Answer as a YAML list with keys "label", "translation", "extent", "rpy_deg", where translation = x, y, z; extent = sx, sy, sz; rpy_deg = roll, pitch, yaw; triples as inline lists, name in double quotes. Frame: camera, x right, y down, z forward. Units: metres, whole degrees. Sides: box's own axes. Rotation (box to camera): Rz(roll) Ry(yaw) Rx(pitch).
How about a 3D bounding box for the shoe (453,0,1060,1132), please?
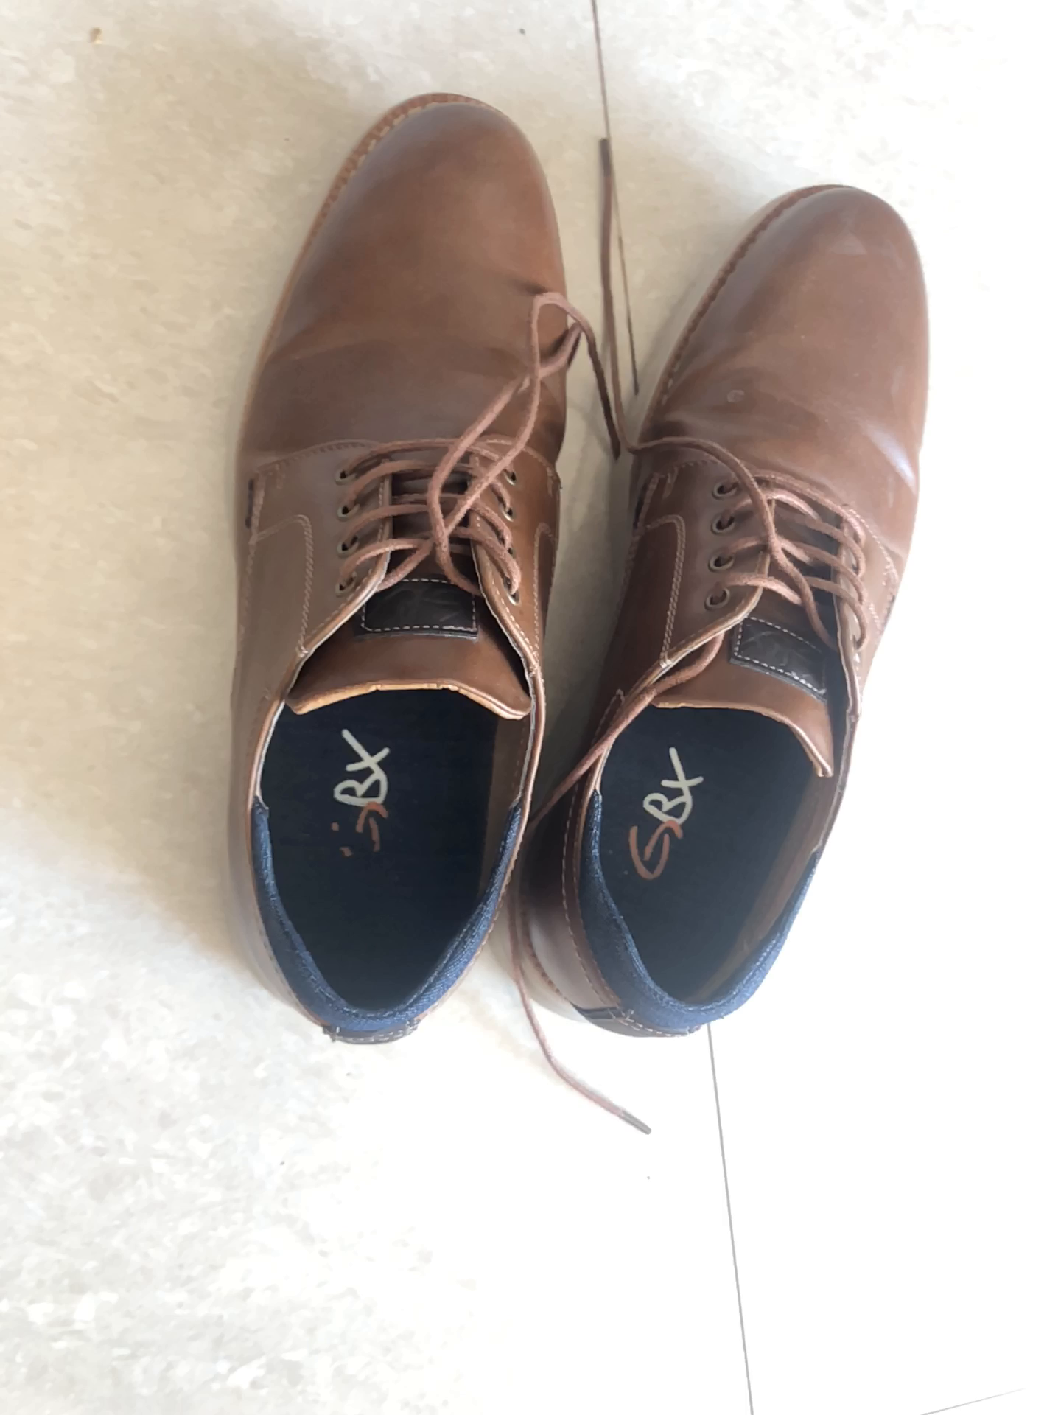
- label: "shoe"
  translation: [0.075, -0.044, 0.381]
  extent: [0.100, 0.100, 0.310]
  rpy_deg: [18, 85, -9]

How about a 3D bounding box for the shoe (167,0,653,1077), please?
- label: "shoe"
  translation: [-0.039, -0.055, 0.378]
  extent: [0.100, 0.100, 0.310]
  rpy_deg: [7, 87, -10]
